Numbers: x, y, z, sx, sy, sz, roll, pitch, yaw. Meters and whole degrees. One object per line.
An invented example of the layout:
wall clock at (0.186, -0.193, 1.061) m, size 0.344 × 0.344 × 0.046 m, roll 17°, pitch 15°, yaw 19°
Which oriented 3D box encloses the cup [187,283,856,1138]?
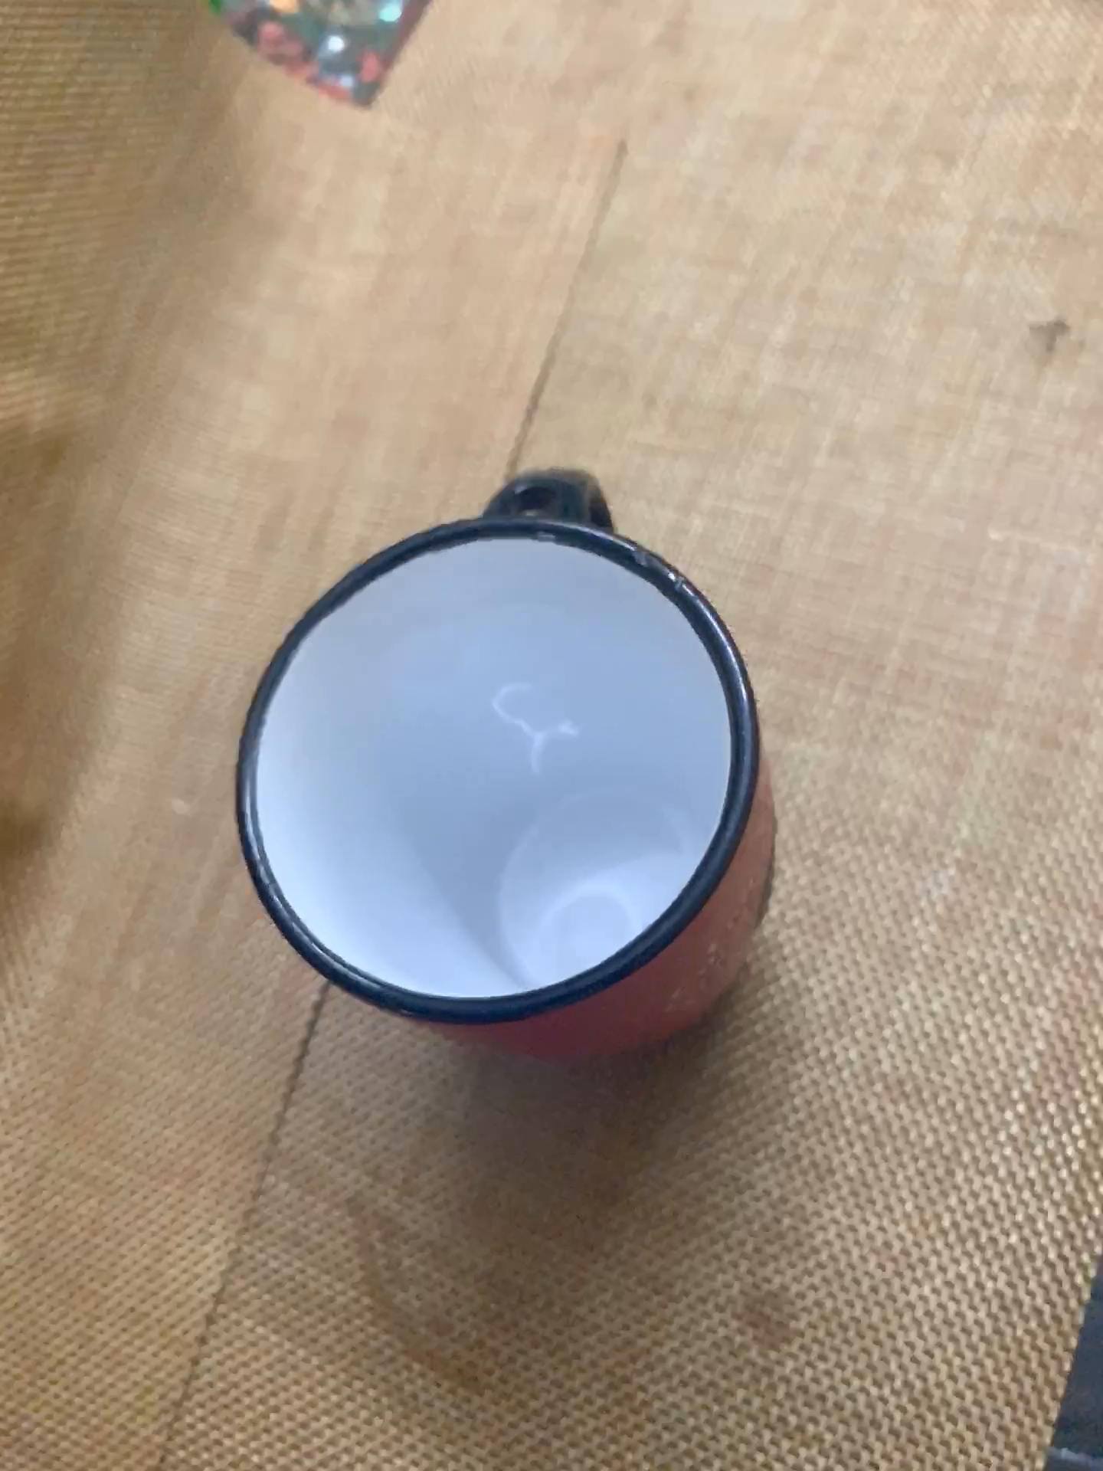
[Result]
cup at (0.000, 0.006, 0.221) m, size 0.090 × 0.100 × 0.120 m, roll -9°, pitch 67°, yaw 10°
